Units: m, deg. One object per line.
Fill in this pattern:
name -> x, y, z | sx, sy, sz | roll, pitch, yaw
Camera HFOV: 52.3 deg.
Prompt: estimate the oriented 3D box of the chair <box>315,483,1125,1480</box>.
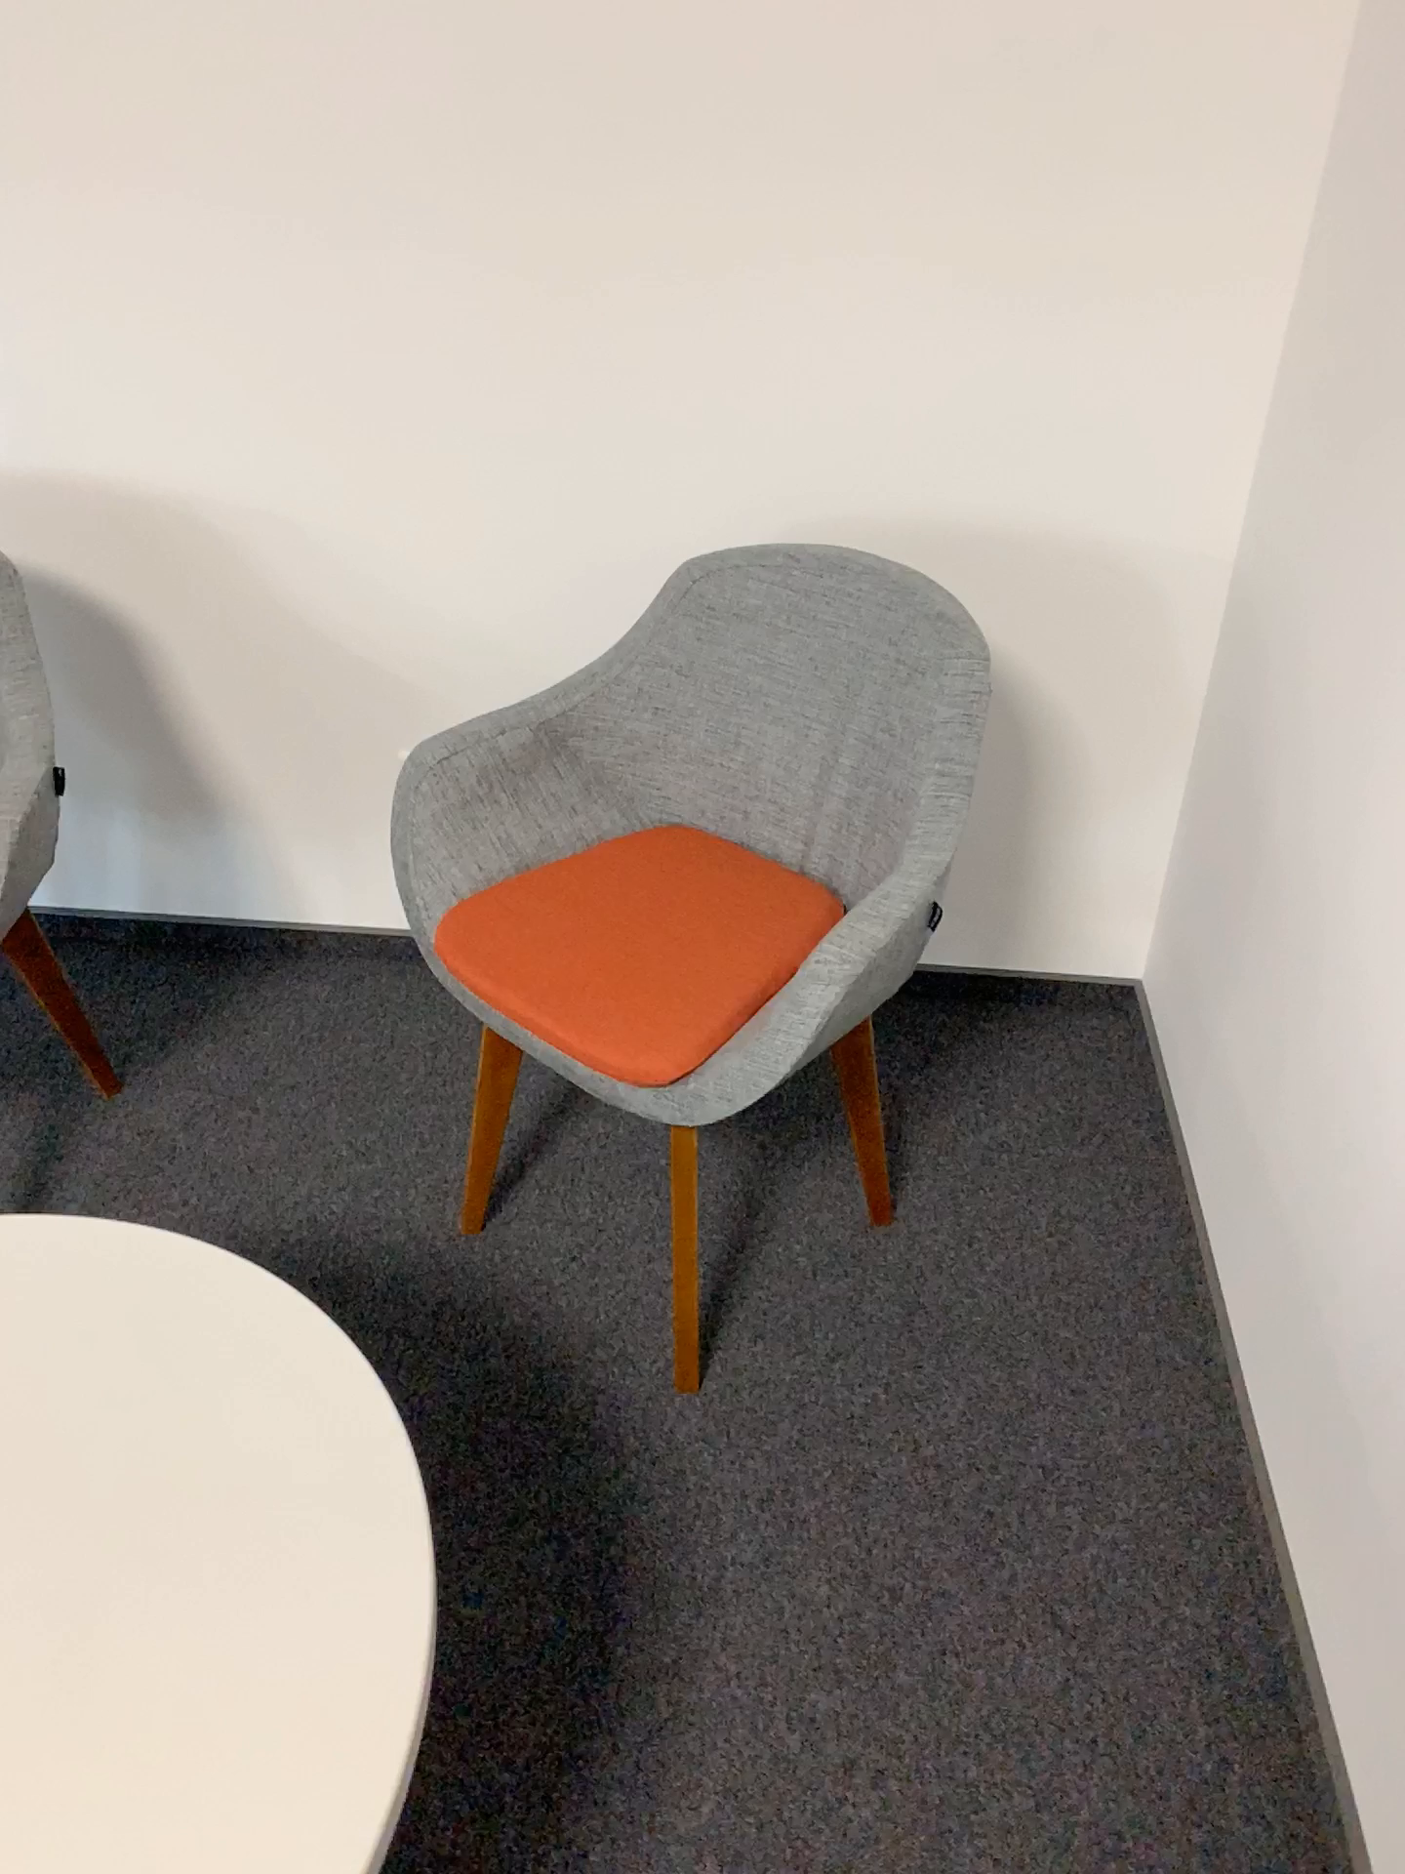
chair -> 0.005, 0.017, 1.652 | 0.631, 0.835, 0.502 | 28, 42, 34
